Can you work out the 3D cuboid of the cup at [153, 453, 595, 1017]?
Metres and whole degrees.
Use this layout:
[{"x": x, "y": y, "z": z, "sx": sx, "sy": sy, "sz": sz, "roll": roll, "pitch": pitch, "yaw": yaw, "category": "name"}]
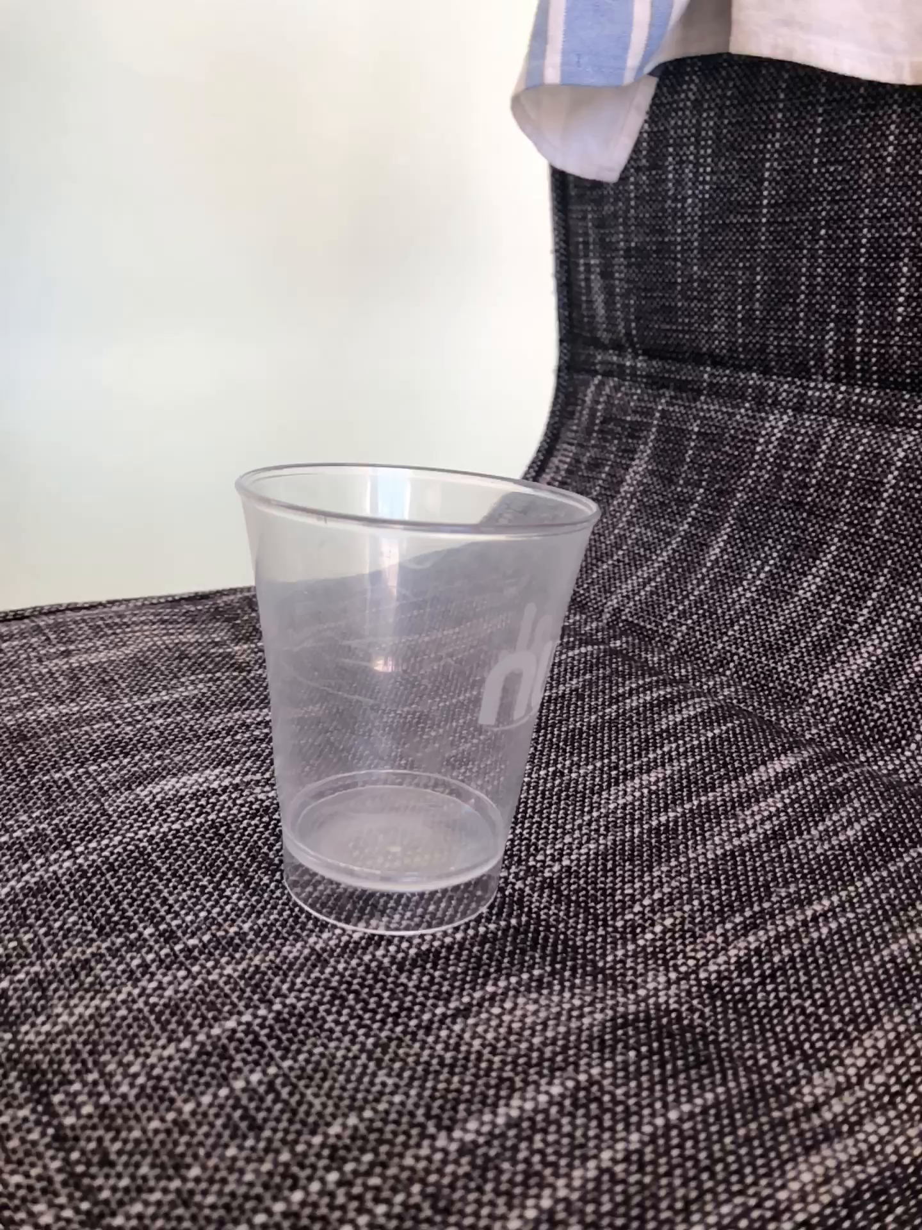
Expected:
[{"x": -0.017, "y": 0.020, "z": 0.242, "sx": 0.080, "sy": 0.100, "sz": 0.080, "roll": 4, "pitch": 15, "yaw": -1, "category": "cup"}]
